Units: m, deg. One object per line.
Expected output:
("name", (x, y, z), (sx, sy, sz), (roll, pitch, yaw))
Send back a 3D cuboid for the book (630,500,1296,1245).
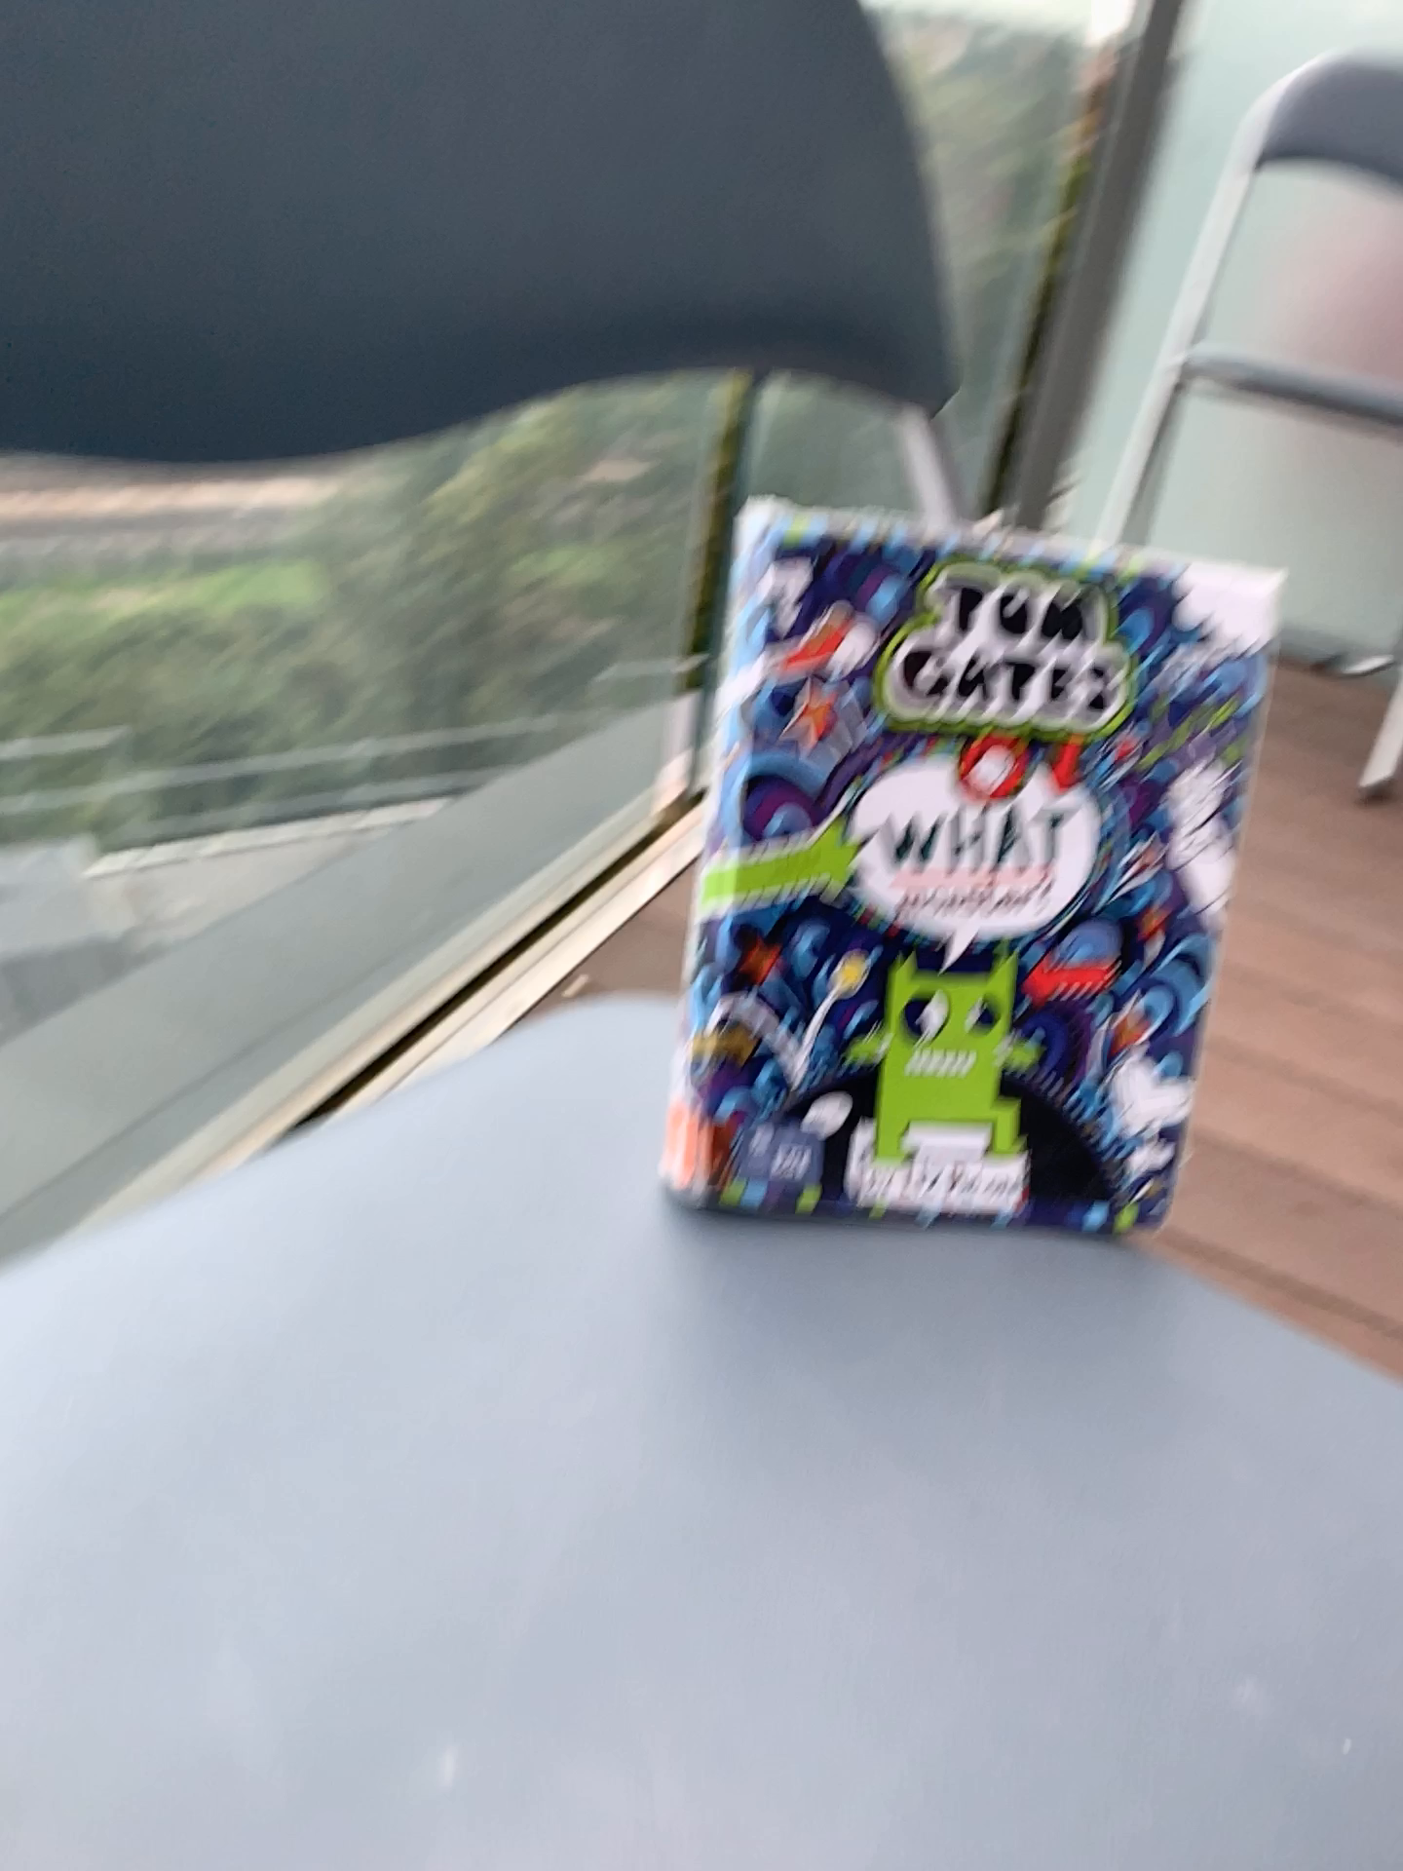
("book", (0.070, -0.015, 0.428), (0.160, 0.199, 0.050), (4, 12, -8))
